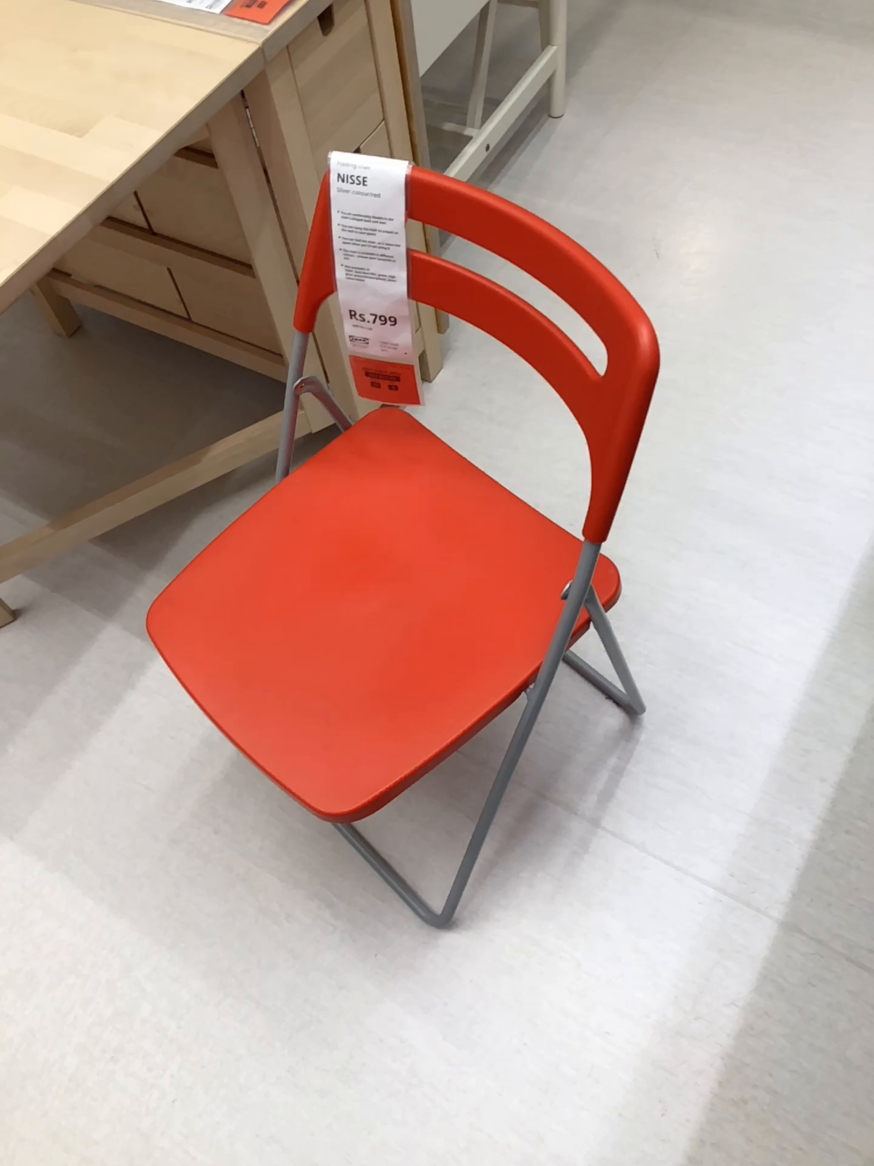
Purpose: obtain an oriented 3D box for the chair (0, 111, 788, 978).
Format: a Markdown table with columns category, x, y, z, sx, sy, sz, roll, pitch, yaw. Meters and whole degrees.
| category | x | y | z | sx | sy | sz | roll | pitch | yaw |
| --- | --- | --- | --- | --- | --- | --- | --- | --- | --- |
| chair | -0.038 | -0.003 | 0.987 | 0.491 | 0.607 | 0.451 | -42 | 63 | -18 |
